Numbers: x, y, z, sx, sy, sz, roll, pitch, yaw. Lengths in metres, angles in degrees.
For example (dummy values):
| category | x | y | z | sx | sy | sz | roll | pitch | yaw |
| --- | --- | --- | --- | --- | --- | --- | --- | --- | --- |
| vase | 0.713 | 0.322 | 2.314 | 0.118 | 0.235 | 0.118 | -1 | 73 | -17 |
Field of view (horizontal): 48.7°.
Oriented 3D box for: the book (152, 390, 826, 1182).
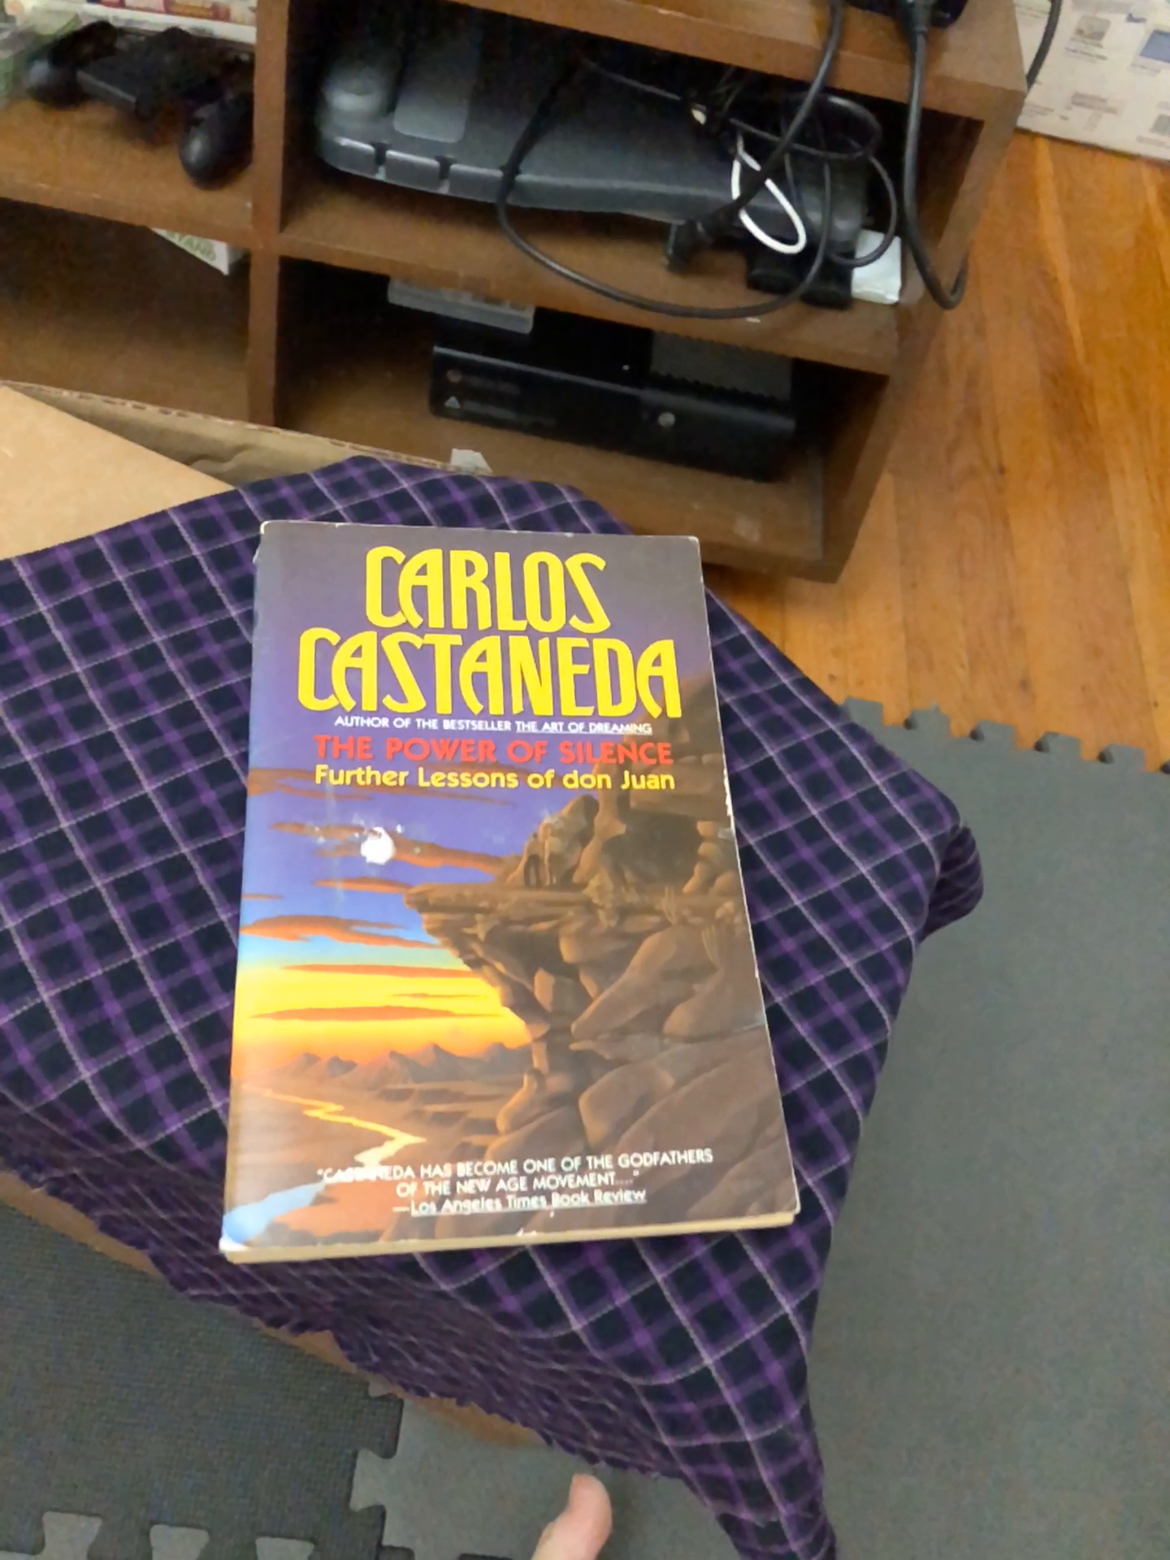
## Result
| category | x | y | z | sx | sy | sz | roll | pitch | yaw |
| --- | --- | --- | --- | --- | --- | --- | --- | --- | --- |
| book | -0.026 | -0.010 | 0.347 | 0.150 | 0.020 | 0.221 | 1 | 62 | -10 |
